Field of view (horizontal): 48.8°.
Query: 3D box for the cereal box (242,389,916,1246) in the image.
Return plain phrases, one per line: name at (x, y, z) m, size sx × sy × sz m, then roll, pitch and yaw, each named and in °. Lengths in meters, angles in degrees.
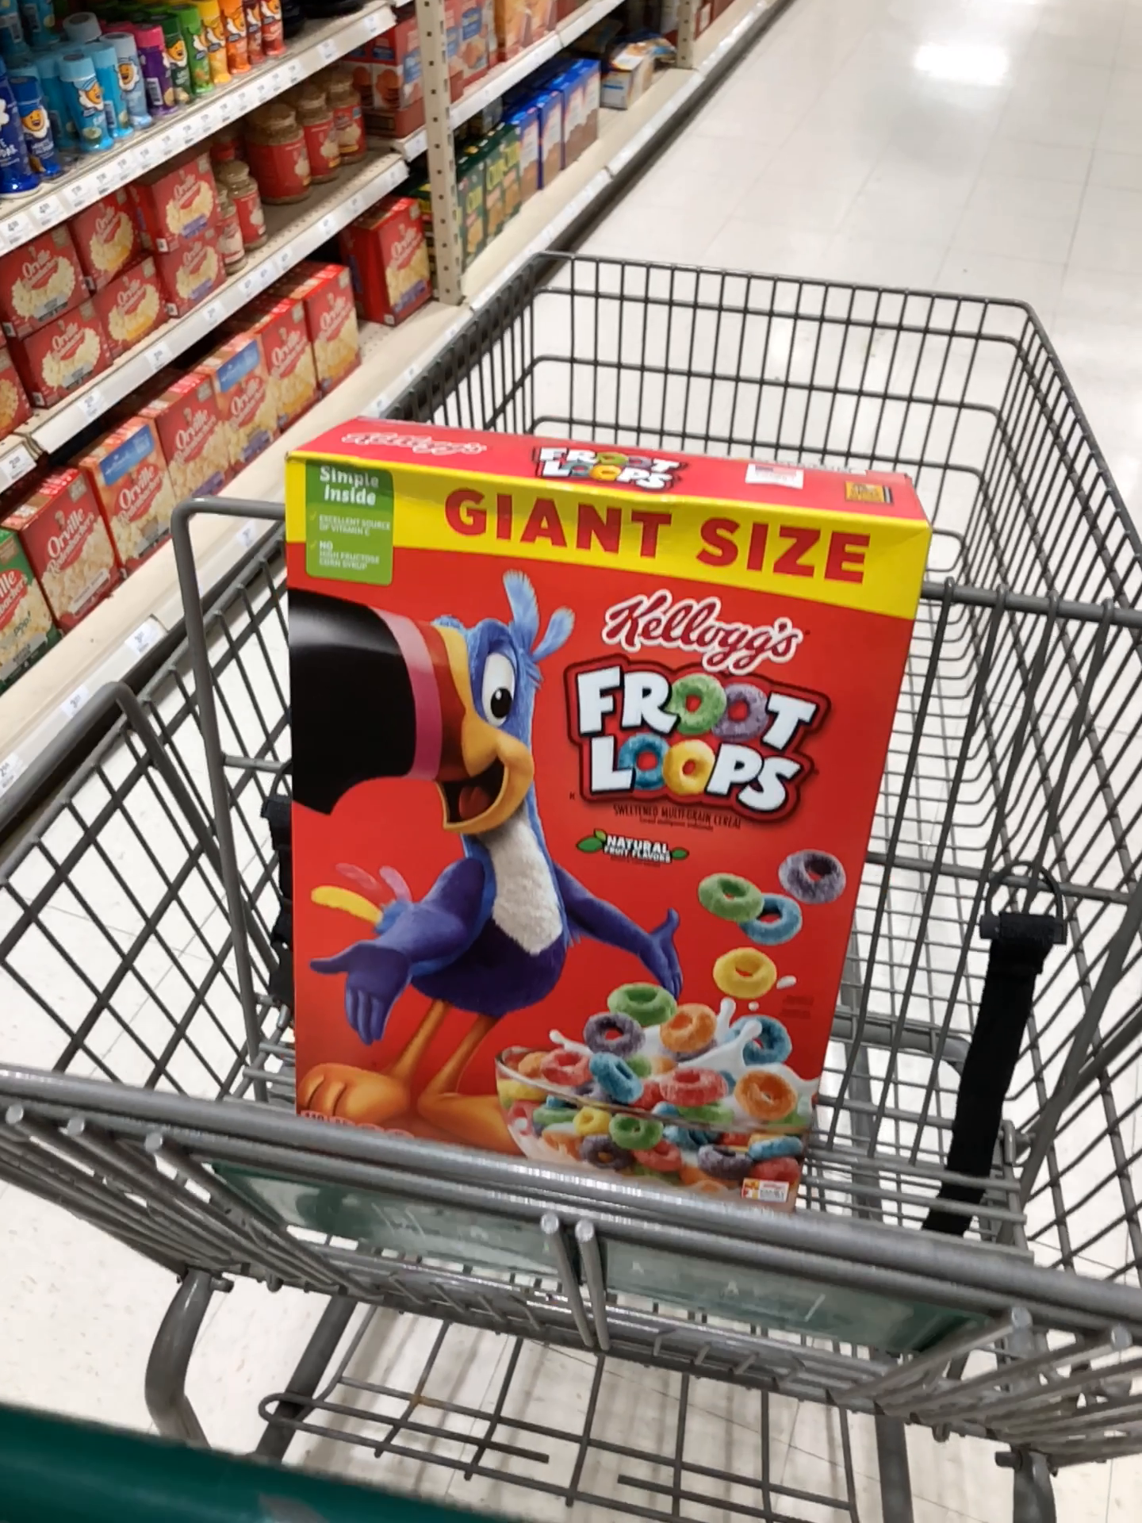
cereal box at (-0.010, 0.034, 0.595) m, size 0.260 × 0.370 × 0.090 m, roll 8°, pitch 24°, yaw 6°
